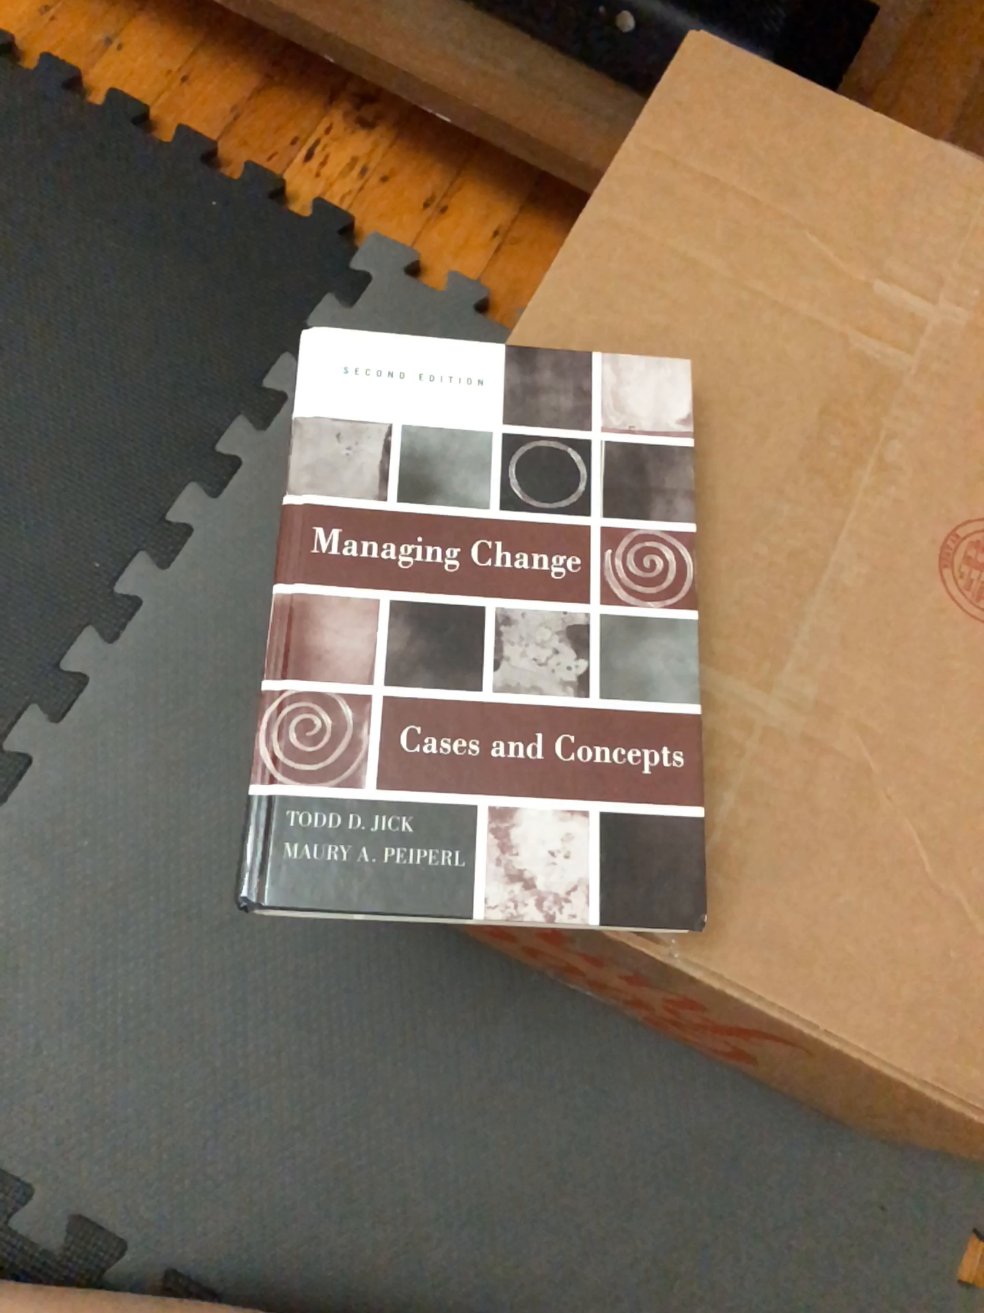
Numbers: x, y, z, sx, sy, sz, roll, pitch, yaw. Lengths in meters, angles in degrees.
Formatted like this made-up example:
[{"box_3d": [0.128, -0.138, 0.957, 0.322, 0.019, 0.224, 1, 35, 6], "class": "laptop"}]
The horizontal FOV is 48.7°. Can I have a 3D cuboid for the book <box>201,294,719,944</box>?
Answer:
[{"box_3d": [-0.006, -0.020, 0.431, 0.180, 0.030, 0.250, 4, 71, -6], "class": "book"}]
